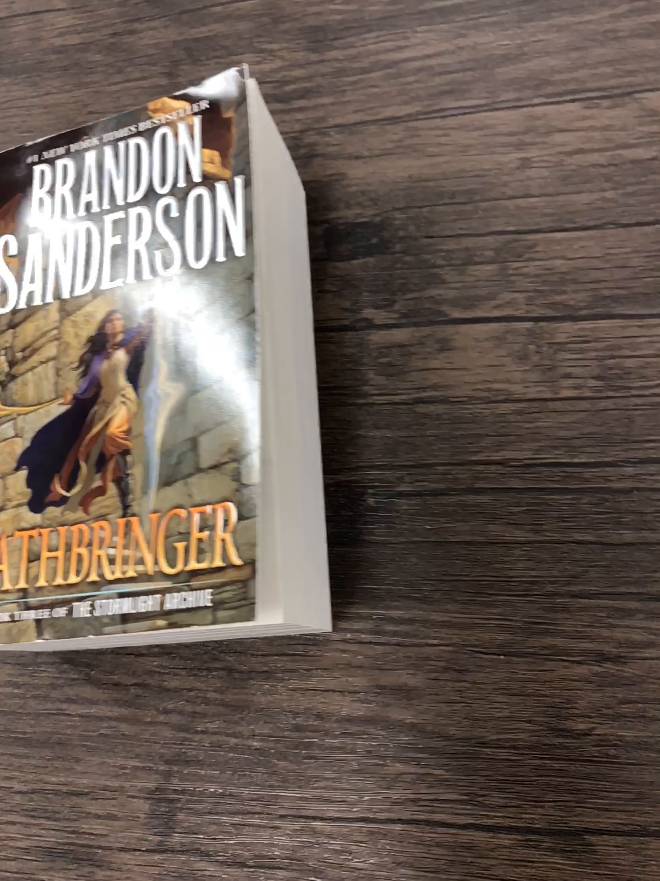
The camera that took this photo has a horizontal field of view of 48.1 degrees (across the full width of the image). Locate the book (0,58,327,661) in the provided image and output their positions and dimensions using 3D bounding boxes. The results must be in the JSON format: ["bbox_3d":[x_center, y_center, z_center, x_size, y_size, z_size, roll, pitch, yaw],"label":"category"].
[{"bbox_3d":[-0.065,-0.020,0.233,0.111,0.058,0.167,-6,73,11],"label":"book"}]
